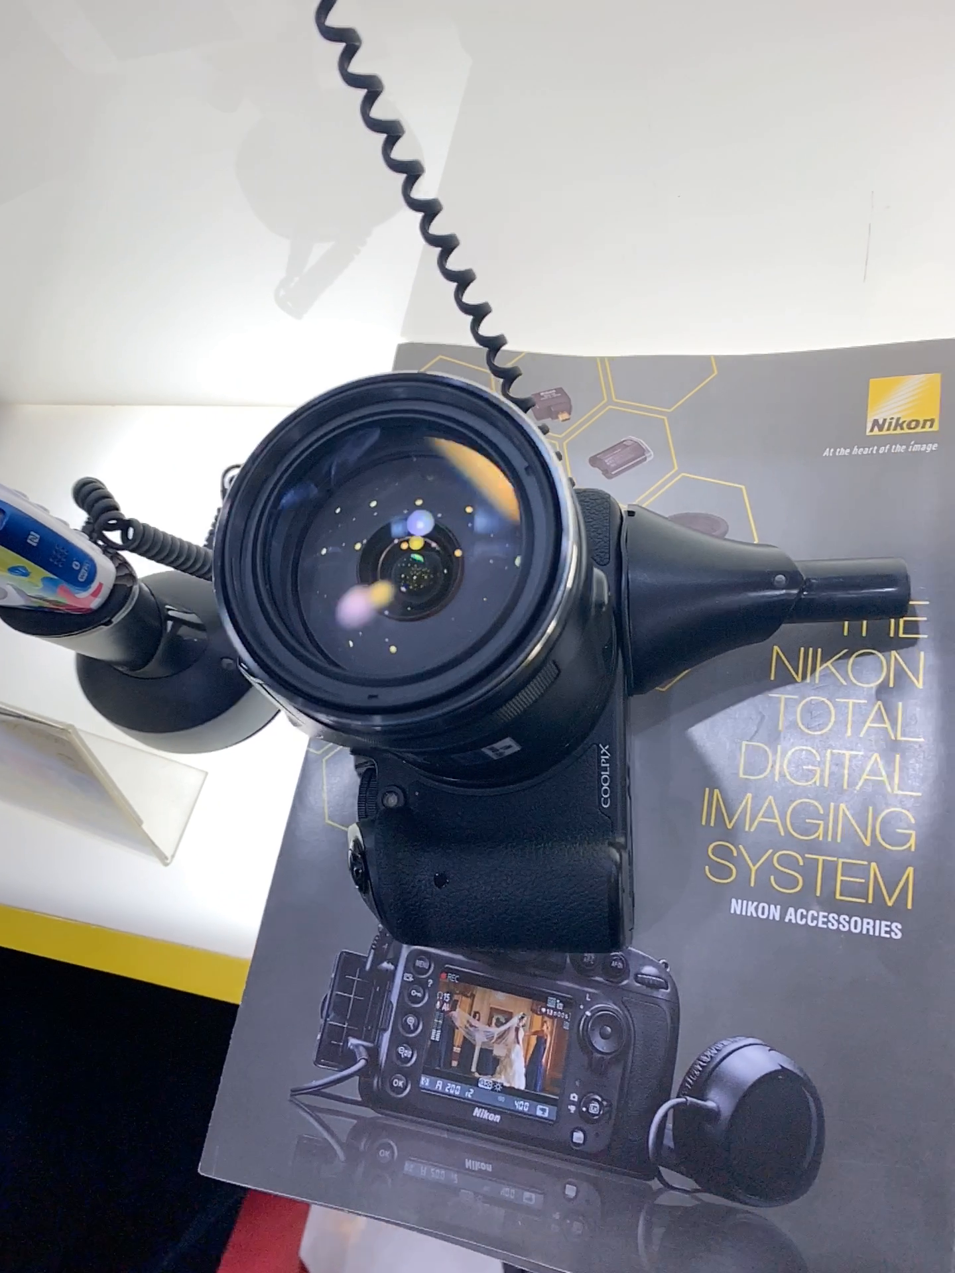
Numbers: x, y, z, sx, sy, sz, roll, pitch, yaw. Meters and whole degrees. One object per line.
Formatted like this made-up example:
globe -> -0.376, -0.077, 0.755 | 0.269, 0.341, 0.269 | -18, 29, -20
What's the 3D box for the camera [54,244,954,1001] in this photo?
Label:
camera -> 0.034, 0.005, 0.231 | 0.200, 0.100, 0.140 | 0, 70, 8
